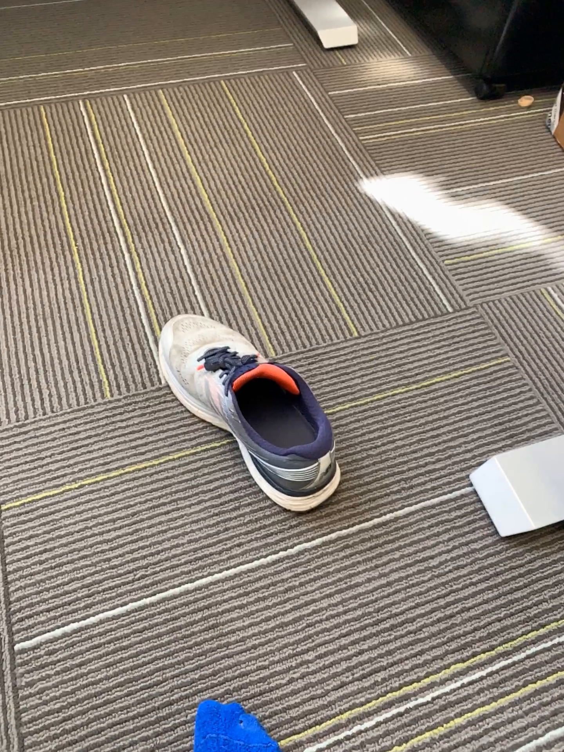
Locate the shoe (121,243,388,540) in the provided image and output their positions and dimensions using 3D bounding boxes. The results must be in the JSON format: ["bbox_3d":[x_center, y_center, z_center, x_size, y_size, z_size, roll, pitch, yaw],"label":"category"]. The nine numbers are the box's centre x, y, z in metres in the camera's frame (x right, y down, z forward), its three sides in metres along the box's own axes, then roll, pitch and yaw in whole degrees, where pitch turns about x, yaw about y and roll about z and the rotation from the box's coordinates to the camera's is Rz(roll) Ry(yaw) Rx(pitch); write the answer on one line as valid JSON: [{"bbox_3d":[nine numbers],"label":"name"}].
[{"bbox_3d":[-0.040,0.007,0.622,0.110,0.110,0.301,-31,64,-22],"label":"shoe"}]
